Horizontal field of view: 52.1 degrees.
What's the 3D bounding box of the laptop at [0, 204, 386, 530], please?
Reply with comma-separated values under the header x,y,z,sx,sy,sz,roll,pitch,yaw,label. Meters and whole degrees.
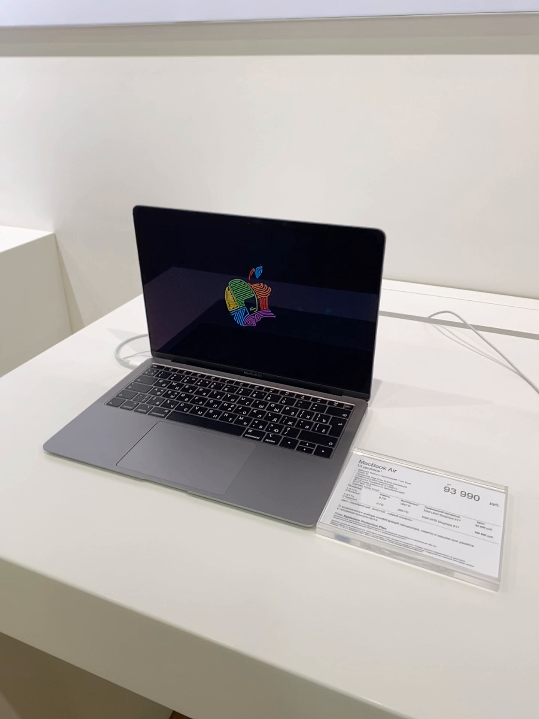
x,y,z,sx,sy,sz,roll,pitch,yaw,label
-0.062,-0.021,0.572,0.302,0.211,0.225,11,29,20,laptop
